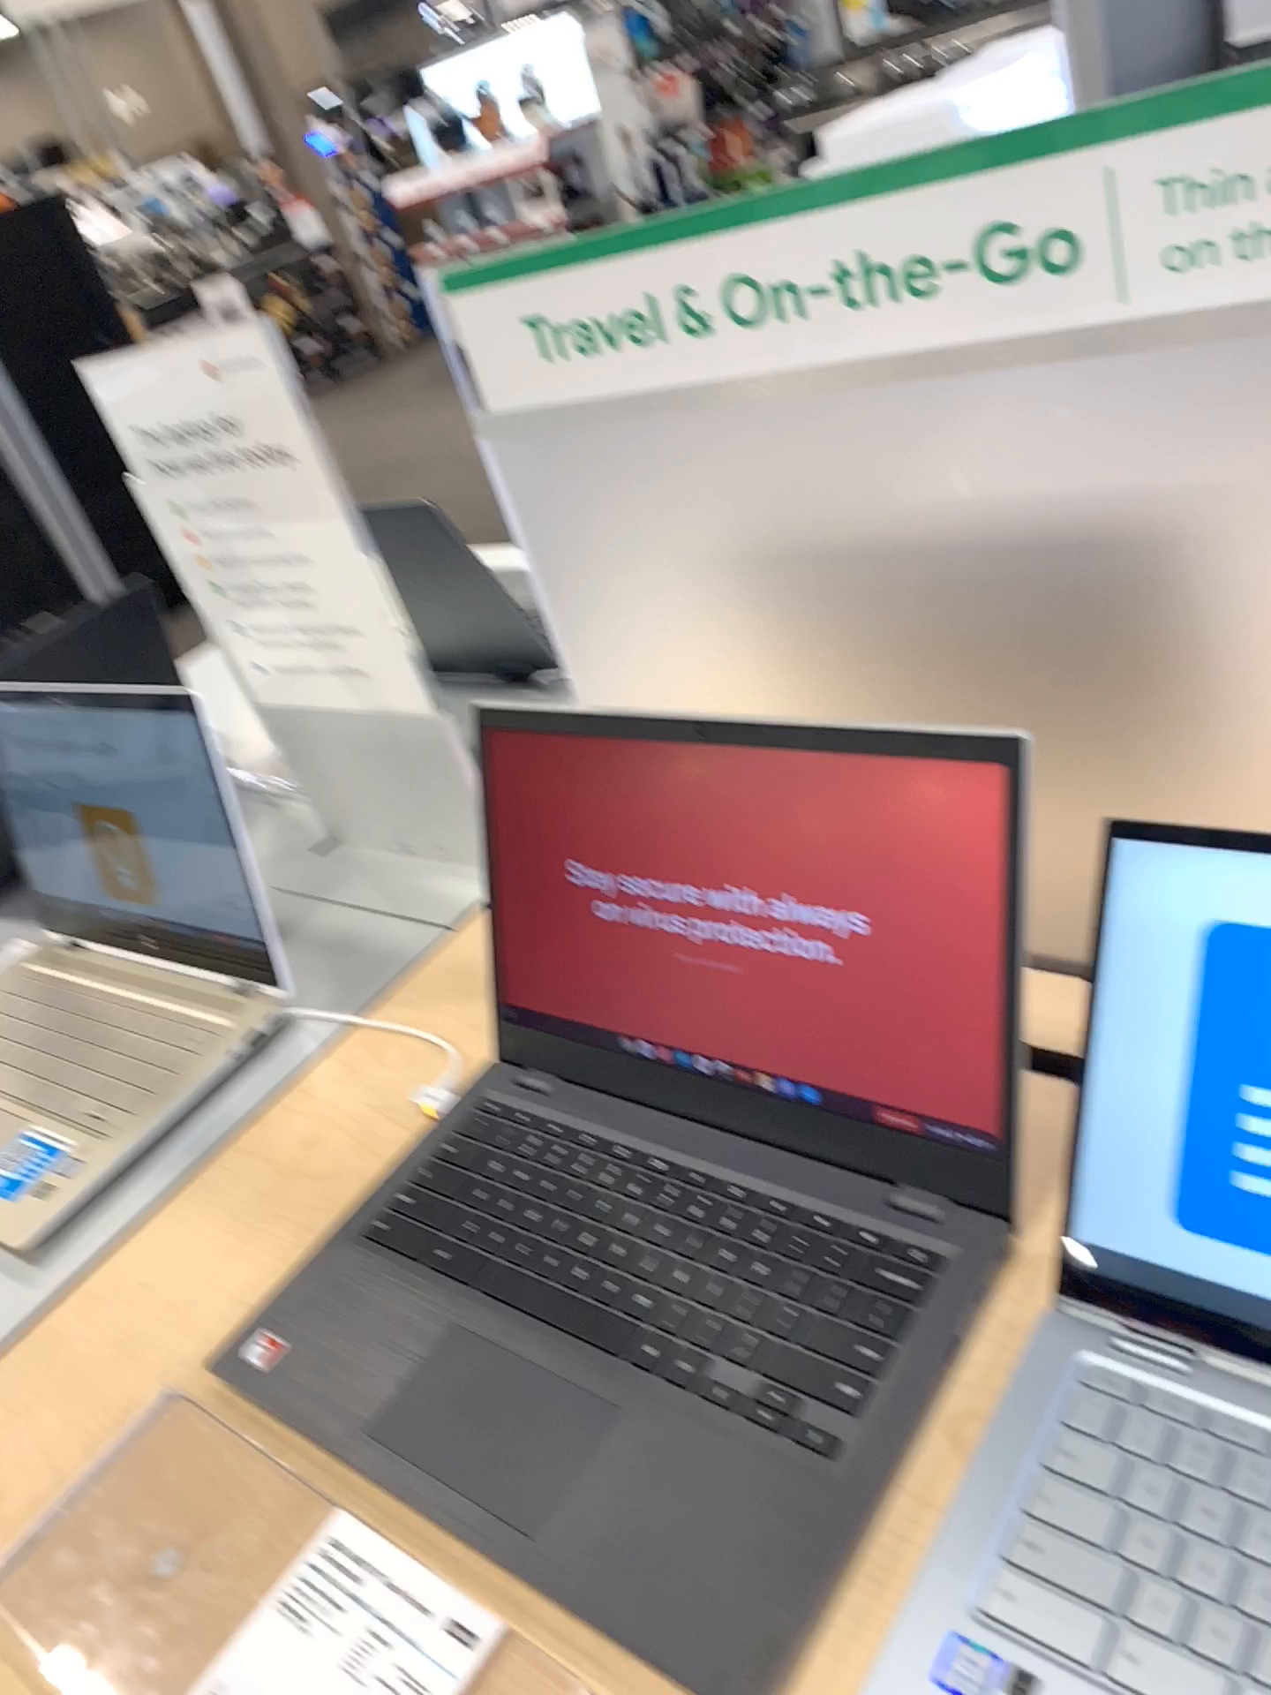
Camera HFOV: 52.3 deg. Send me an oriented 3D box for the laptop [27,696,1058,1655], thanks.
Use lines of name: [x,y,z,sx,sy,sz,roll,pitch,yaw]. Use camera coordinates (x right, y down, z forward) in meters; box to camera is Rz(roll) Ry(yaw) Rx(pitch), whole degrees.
laptop: [-0.027,0.096,0.585,0.311,0.188,0.299,8,41,39]
